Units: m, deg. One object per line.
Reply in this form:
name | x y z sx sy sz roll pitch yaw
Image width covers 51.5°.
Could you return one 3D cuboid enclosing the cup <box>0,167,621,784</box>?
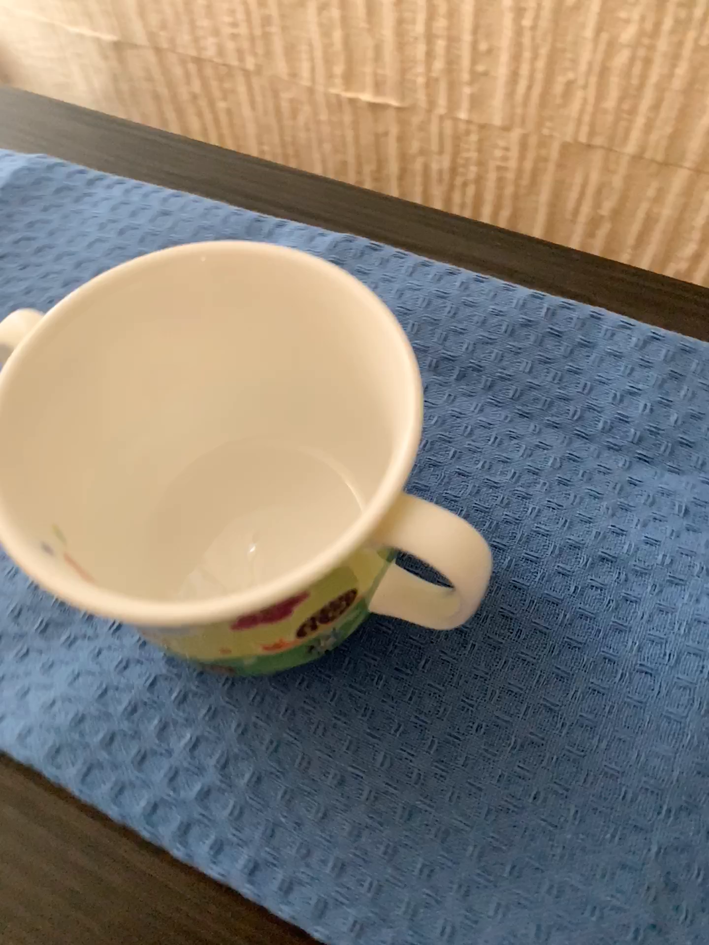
cup | -0.019 0.000 0.169 0.120 0.070 0.080 23 66 17
